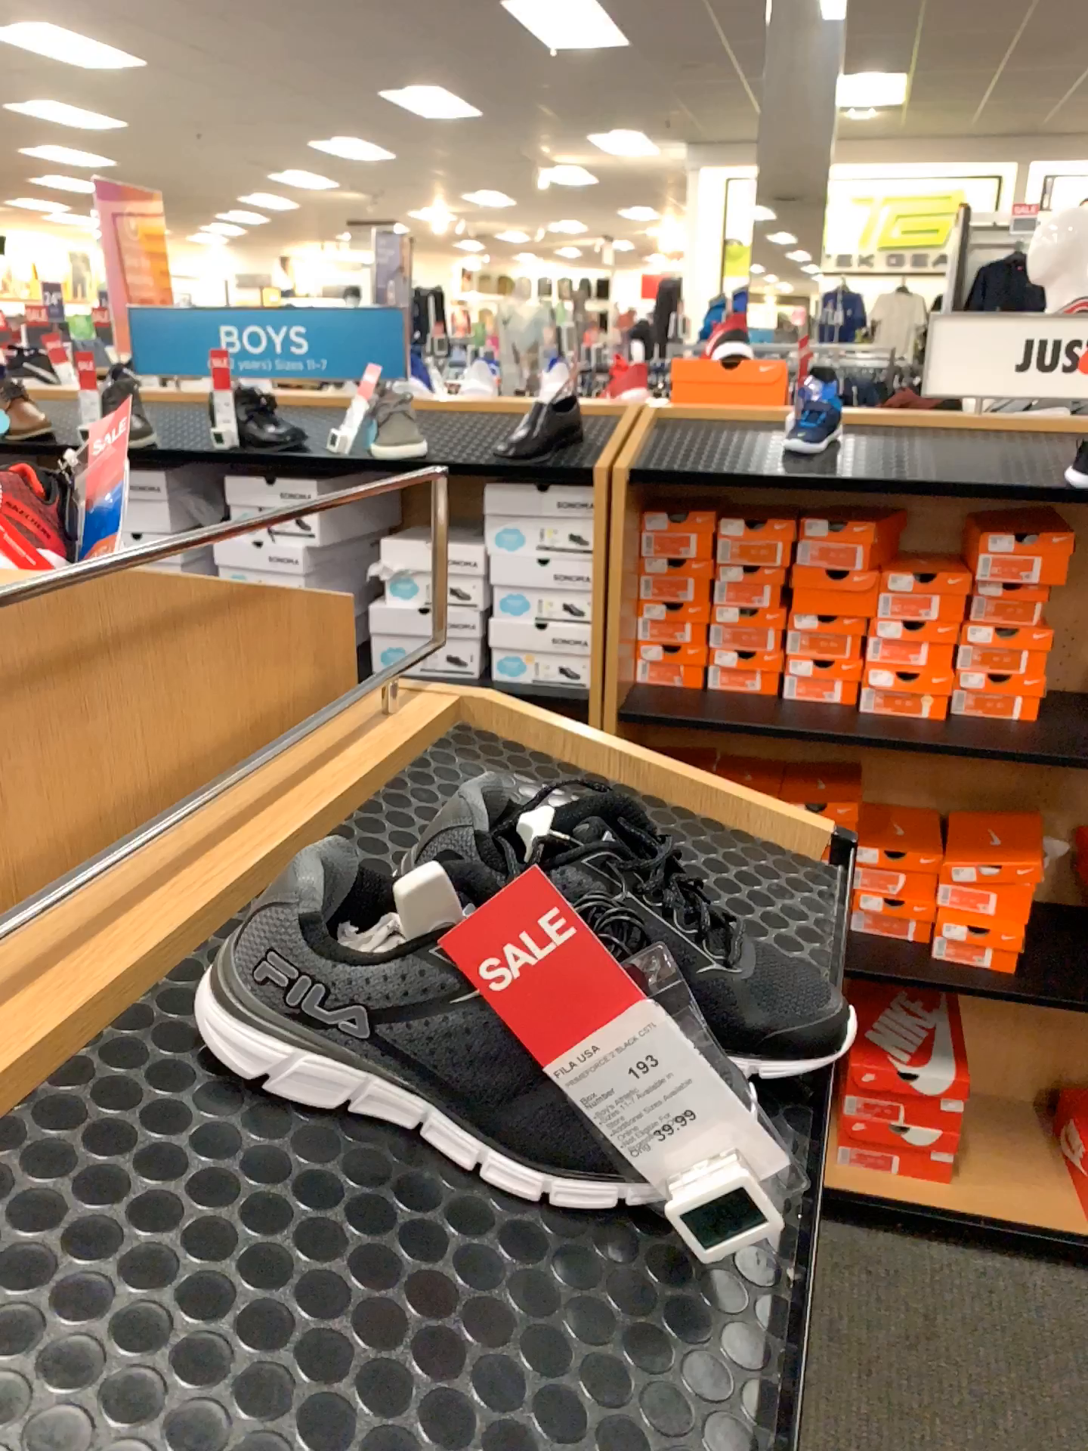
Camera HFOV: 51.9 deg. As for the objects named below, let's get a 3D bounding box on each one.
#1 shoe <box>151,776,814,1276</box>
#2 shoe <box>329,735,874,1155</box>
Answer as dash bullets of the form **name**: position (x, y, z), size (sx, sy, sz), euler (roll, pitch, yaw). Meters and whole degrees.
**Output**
- **shoe**: position (-0.022, 0.122, 0.480), size (0.244, 0.090, 0.100), euler (21, 20, -1)
- **shoe**: position (0.031, 0.108, 0.569), size (0.244, 0.090, 0.101), euler (20, 31, 2)
